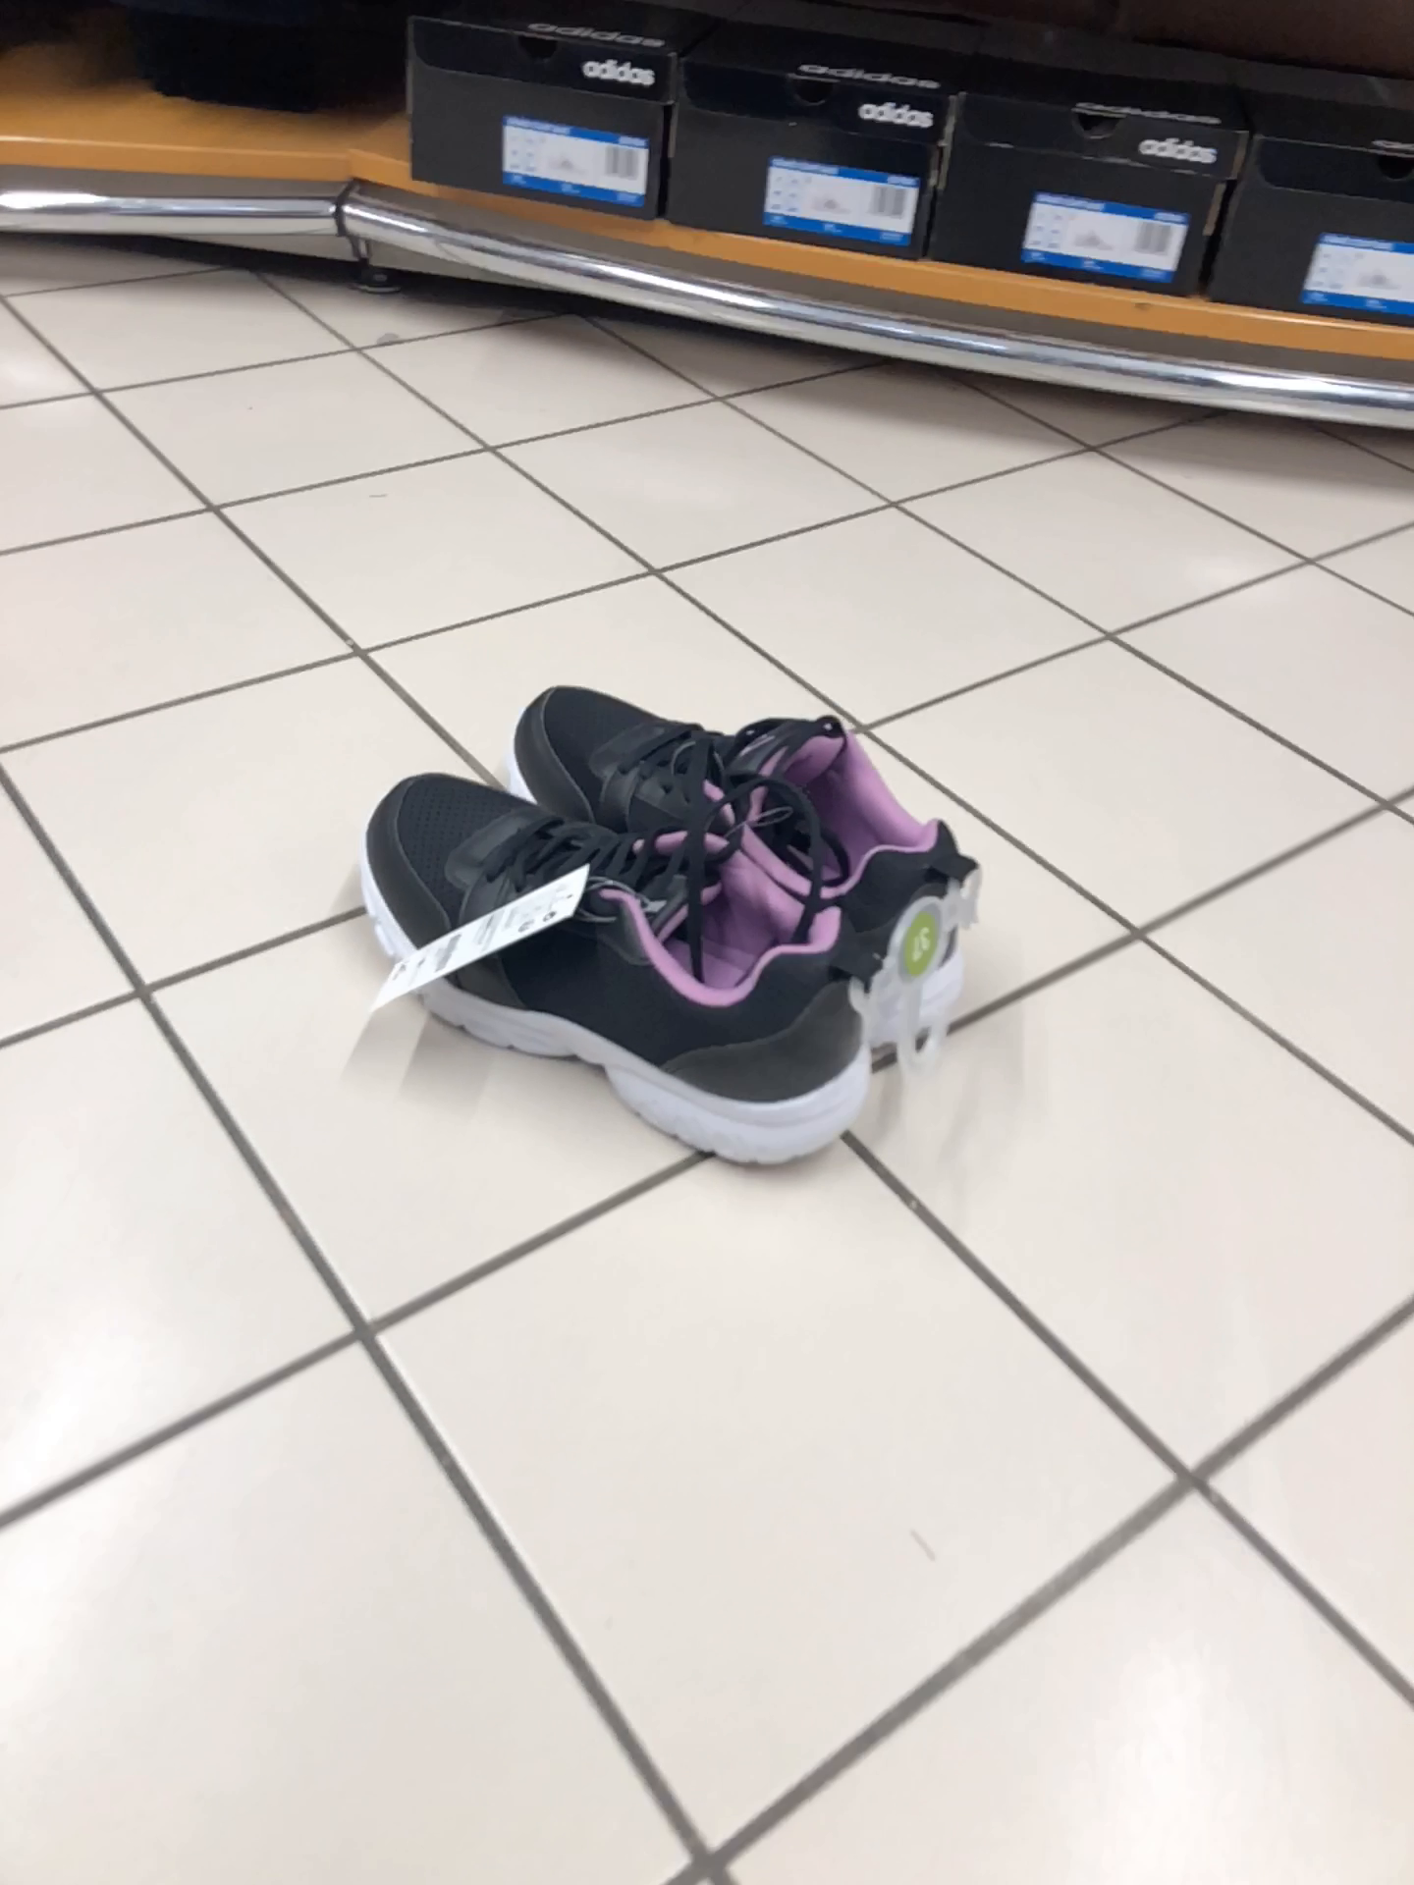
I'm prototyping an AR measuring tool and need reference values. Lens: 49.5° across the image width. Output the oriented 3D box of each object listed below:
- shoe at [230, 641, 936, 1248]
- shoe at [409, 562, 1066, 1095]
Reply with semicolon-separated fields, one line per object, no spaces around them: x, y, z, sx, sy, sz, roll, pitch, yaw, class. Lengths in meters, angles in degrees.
-0.054;-0.011;0.611;0.260;0.089;0.111;31;50;26;shoe
0.005;-0.060;0.663;0.260;0.089;0.111;31;47;26;shoe
